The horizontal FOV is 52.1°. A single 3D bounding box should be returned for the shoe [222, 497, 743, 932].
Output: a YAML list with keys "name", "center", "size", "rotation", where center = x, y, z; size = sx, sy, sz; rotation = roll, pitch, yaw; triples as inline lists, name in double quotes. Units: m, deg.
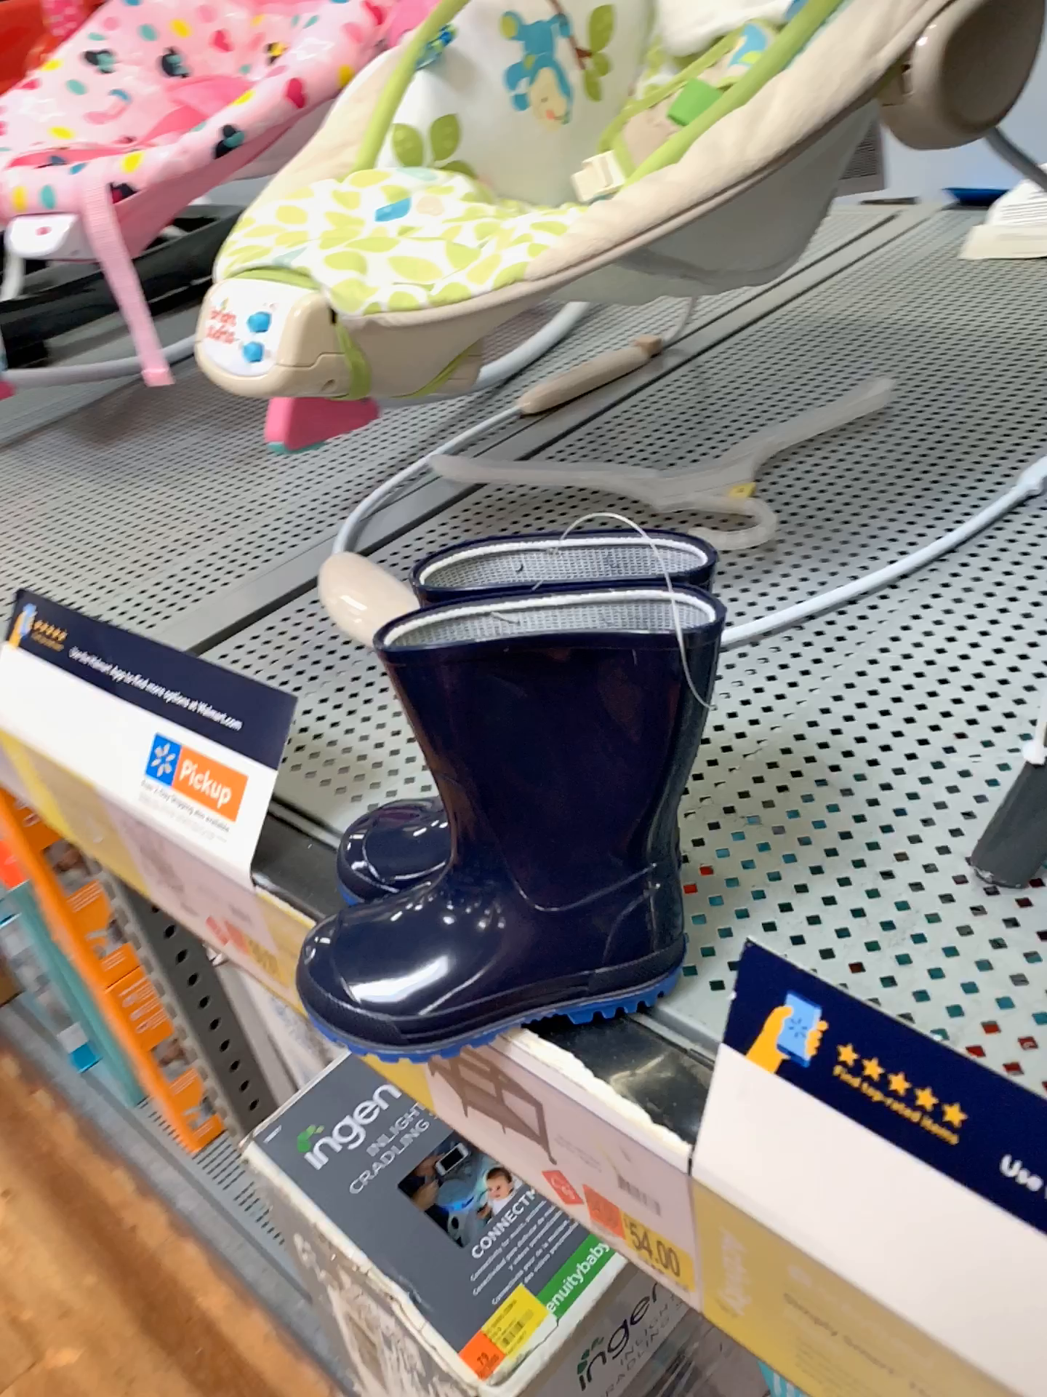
- name: "shoe"
  center: [-0.006, 0.010, 0.428]
  size: [0.173, 0.143, 0.075]
  rotation: [-5, 31, 8]

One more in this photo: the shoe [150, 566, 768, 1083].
- name: "shoe"
  center: [-0.012, 0.046, 0.373]
  size: [0.173, 0.143, 0.076]
  rotation: [-7, 30, 5]
